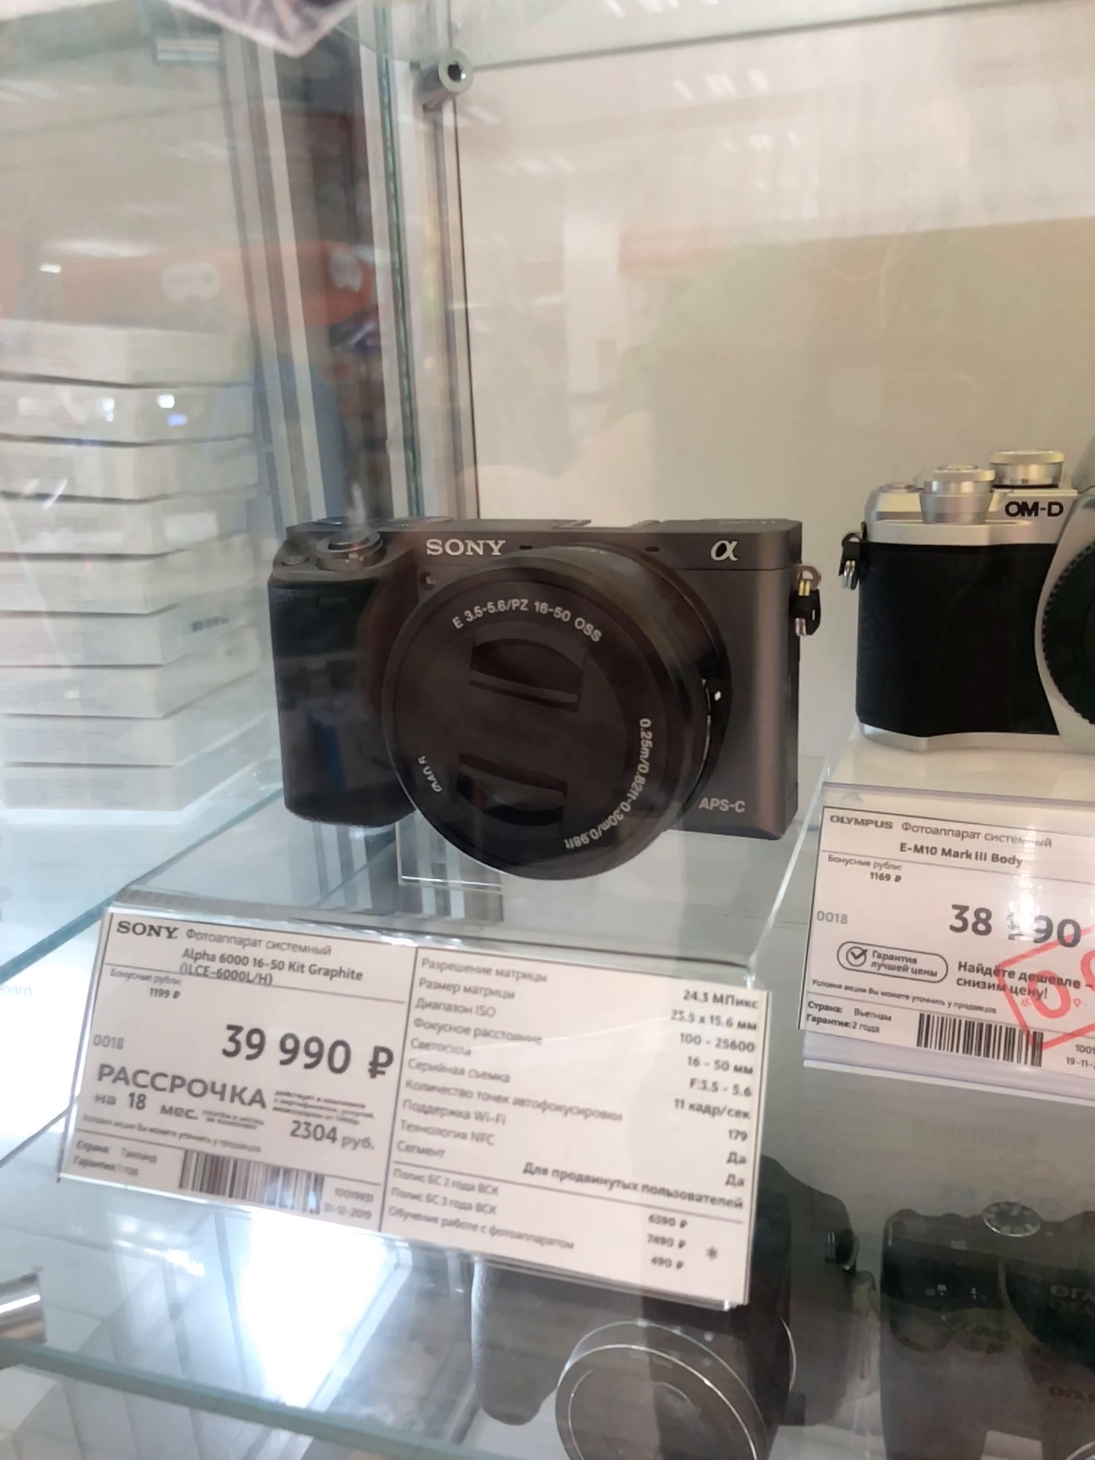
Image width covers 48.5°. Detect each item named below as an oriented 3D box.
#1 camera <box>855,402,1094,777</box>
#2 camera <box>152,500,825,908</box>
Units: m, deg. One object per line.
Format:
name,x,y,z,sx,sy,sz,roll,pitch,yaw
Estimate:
camera,0.150,-0.042,0.324,0.122,0.081,0.087,2,15,20
camera,-0.009,-0.011,0.271,0.130,0.070,0.066,2,15,20
